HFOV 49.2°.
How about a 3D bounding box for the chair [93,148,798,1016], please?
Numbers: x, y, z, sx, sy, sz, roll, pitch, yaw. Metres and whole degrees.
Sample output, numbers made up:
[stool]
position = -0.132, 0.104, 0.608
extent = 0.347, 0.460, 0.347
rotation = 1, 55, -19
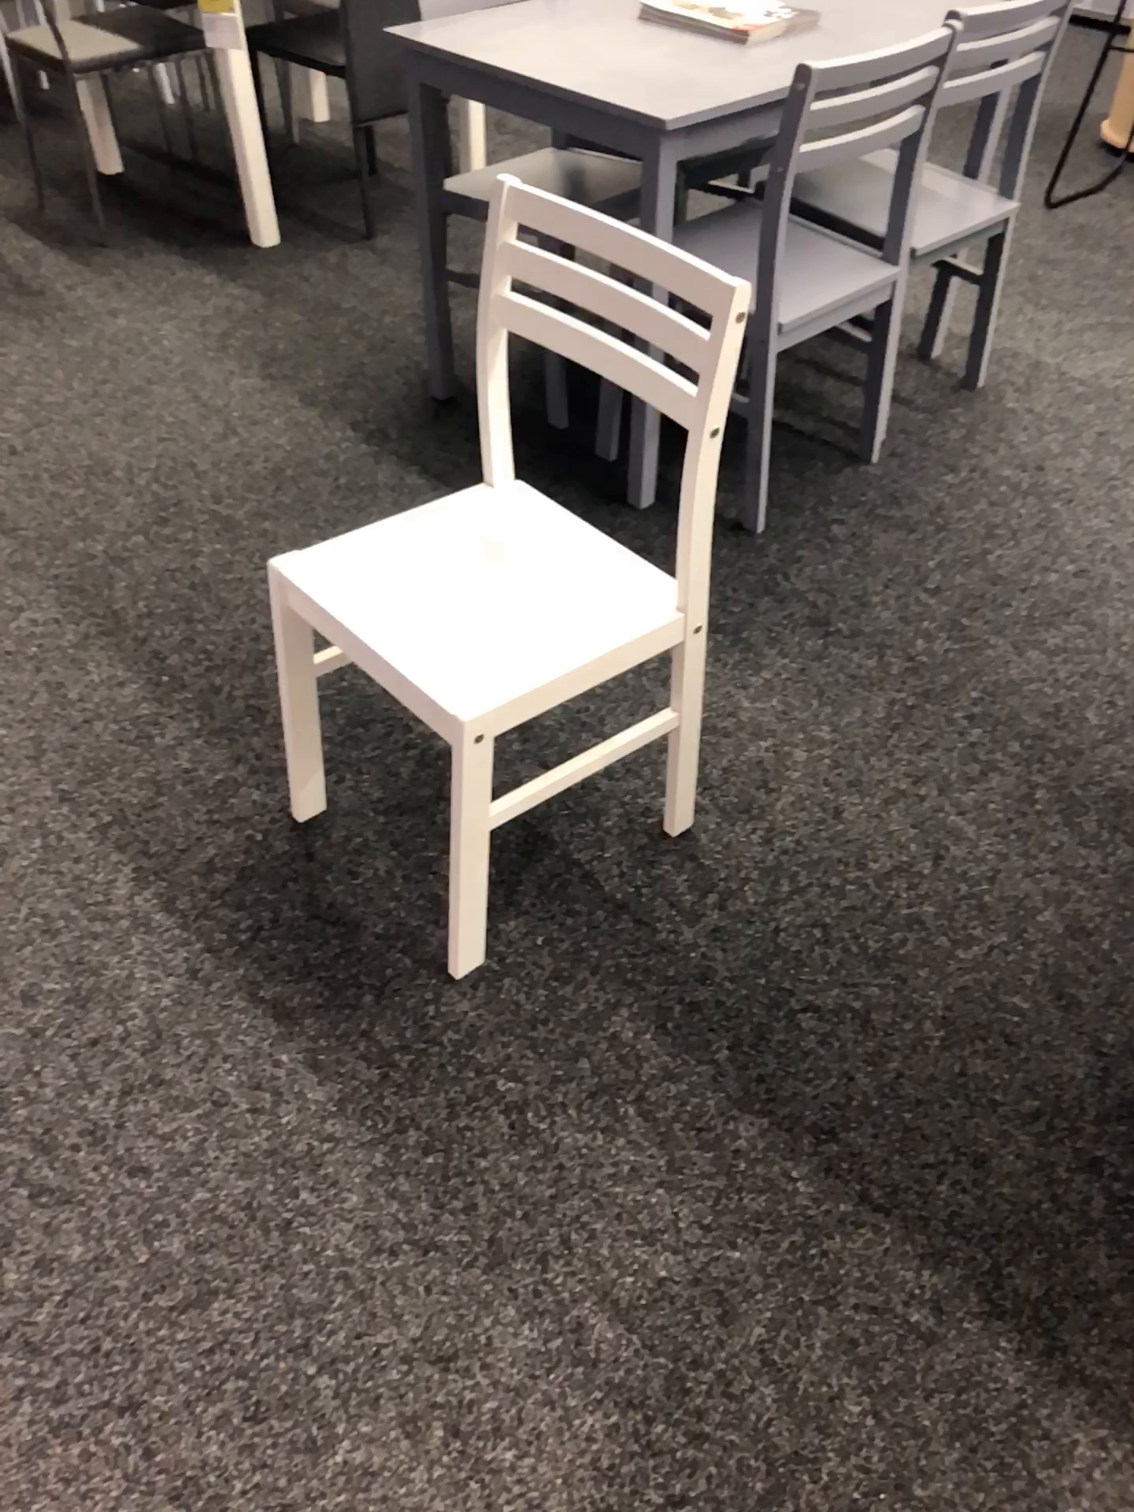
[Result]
[chair]
position = -0.127, -0.212, 1.487
extent = 0.502, 0.765, 0.501
rotation = -30, 50, -29
